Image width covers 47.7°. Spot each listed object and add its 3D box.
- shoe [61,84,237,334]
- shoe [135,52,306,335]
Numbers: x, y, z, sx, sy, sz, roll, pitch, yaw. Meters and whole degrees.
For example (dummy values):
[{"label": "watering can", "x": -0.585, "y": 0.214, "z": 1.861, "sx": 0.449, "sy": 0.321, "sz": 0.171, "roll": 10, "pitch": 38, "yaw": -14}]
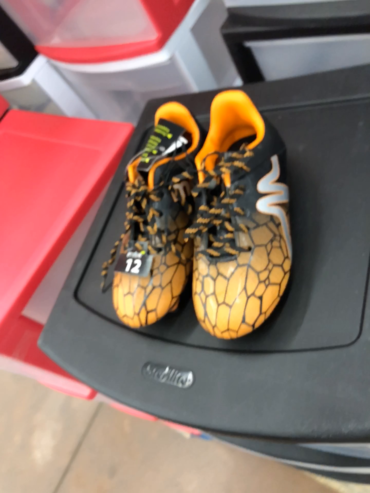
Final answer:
[{"label": "shoe", "x": -0.021, "y": -0.035, "z": 0.374, "sx": 0.080, "sy": 0.080, "sz": 0.200, "roll": -2, "pitch": 60, "yaw": 30}, {"label": "shoe", "x": 0.038, "y": -0.042, "z": 0.321, "sx": 0.080, "sy": 0.070, "sz": 0.200, "roll": -3, "pitch": 60, "yaw": 29}]
